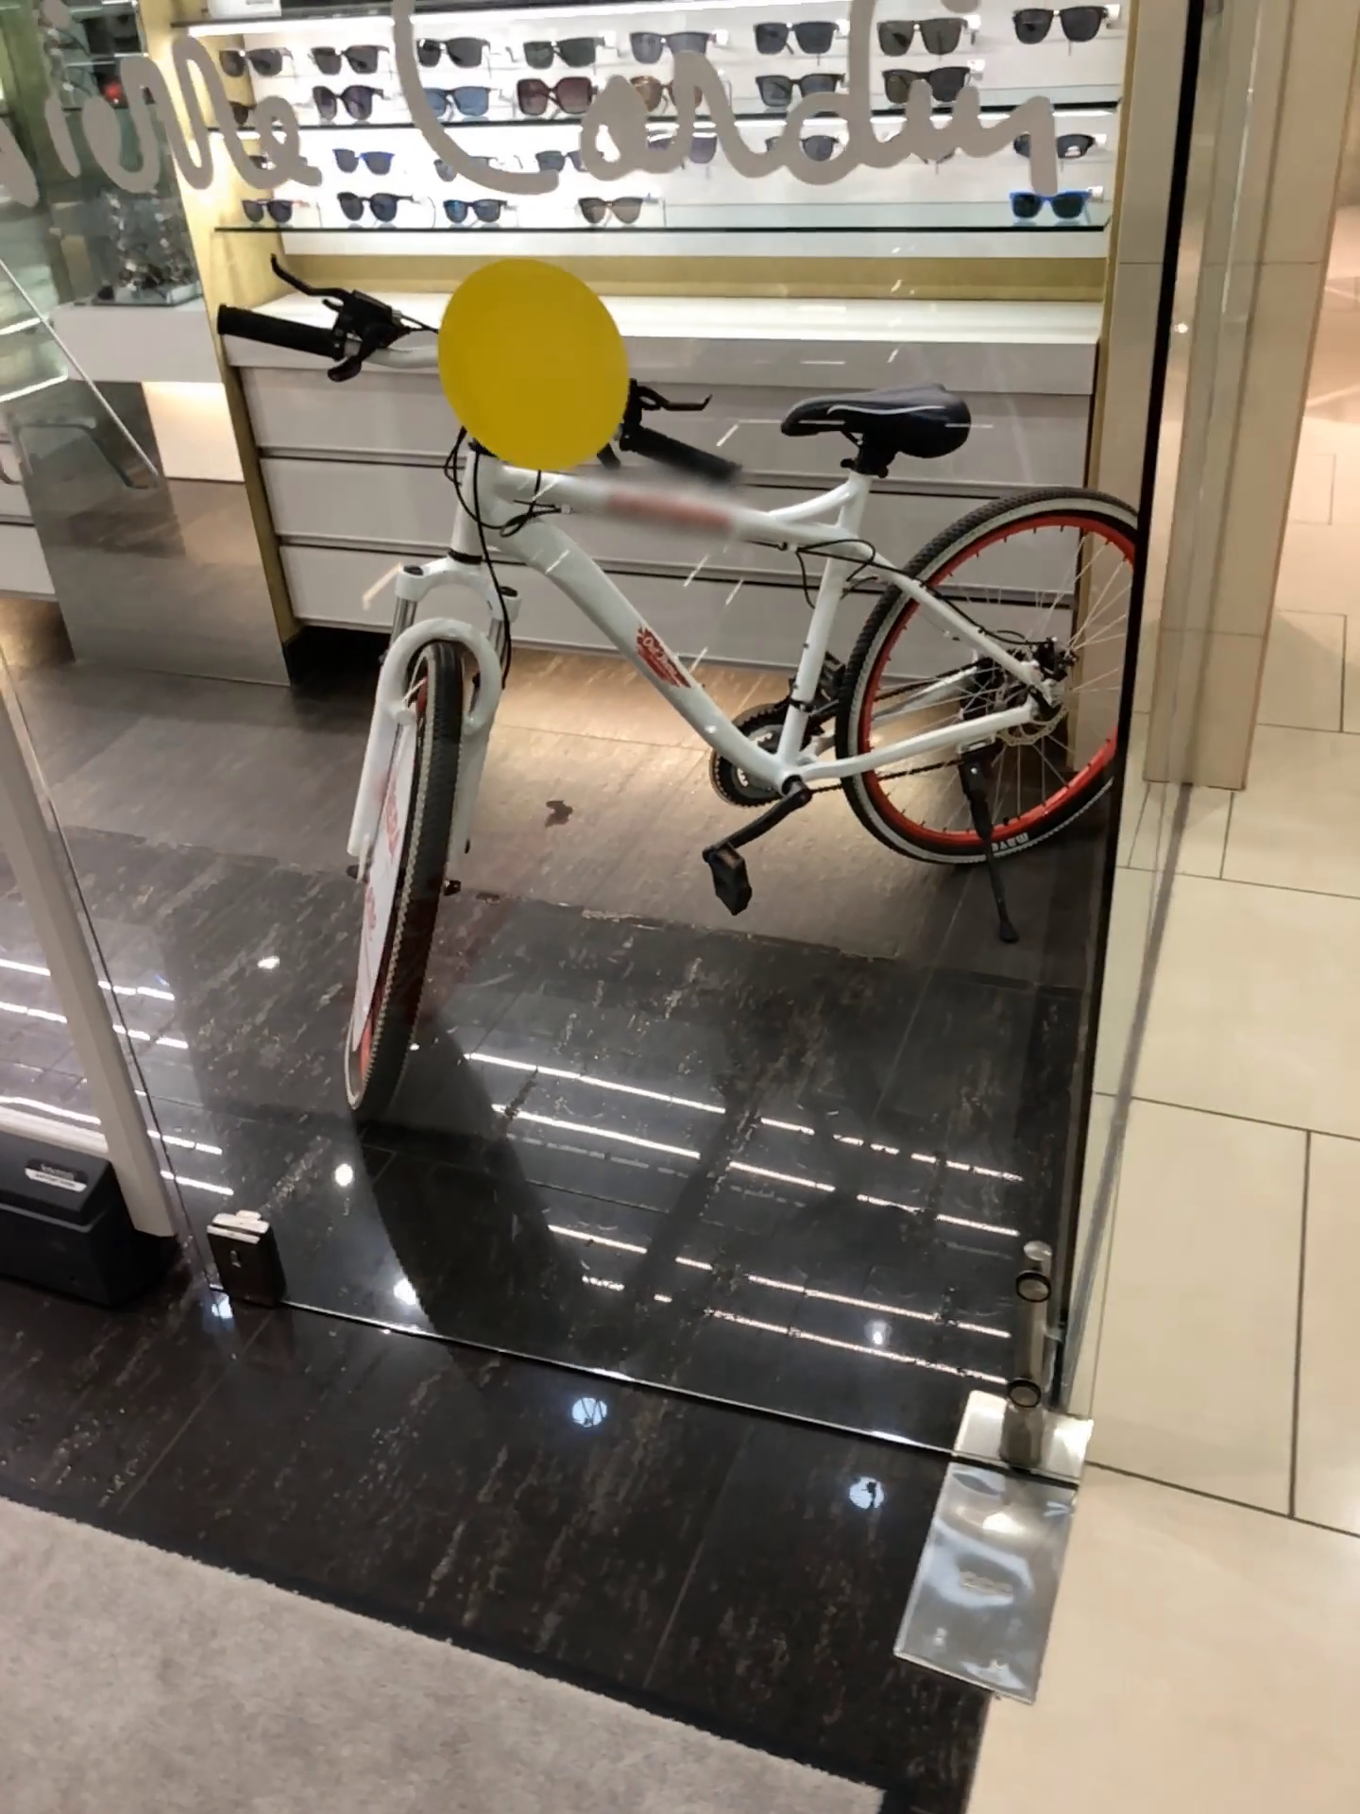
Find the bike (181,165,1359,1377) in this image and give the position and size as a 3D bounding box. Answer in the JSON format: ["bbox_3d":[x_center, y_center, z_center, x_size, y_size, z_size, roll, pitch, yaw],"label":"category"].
[{"bbox_3d":[0.188,-0.292,1.974,1.383,0.947,0.594,-27,38,-27],"label":"bike"}]
